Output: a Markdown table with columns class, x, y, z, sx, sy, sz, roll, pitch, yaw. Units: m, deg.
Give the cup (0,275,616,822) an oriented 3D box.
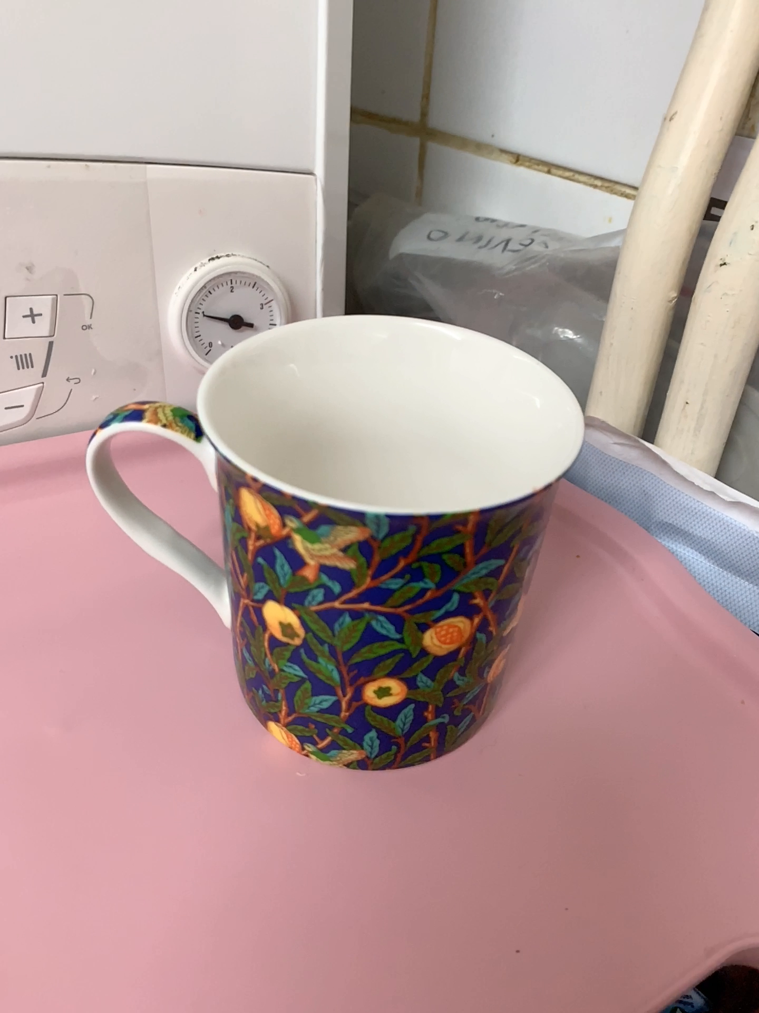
| class | x | y | z | sx | sy | sz | roll | pitch | yaw |
| --- | --- | --- | --- | --- | --- | --- | --- | --- | --- |
| cup | -0.018 | 0.003 | 0.184 | 0.120 | 0.079 | 0.081 | 8 | 32 | 6 |
